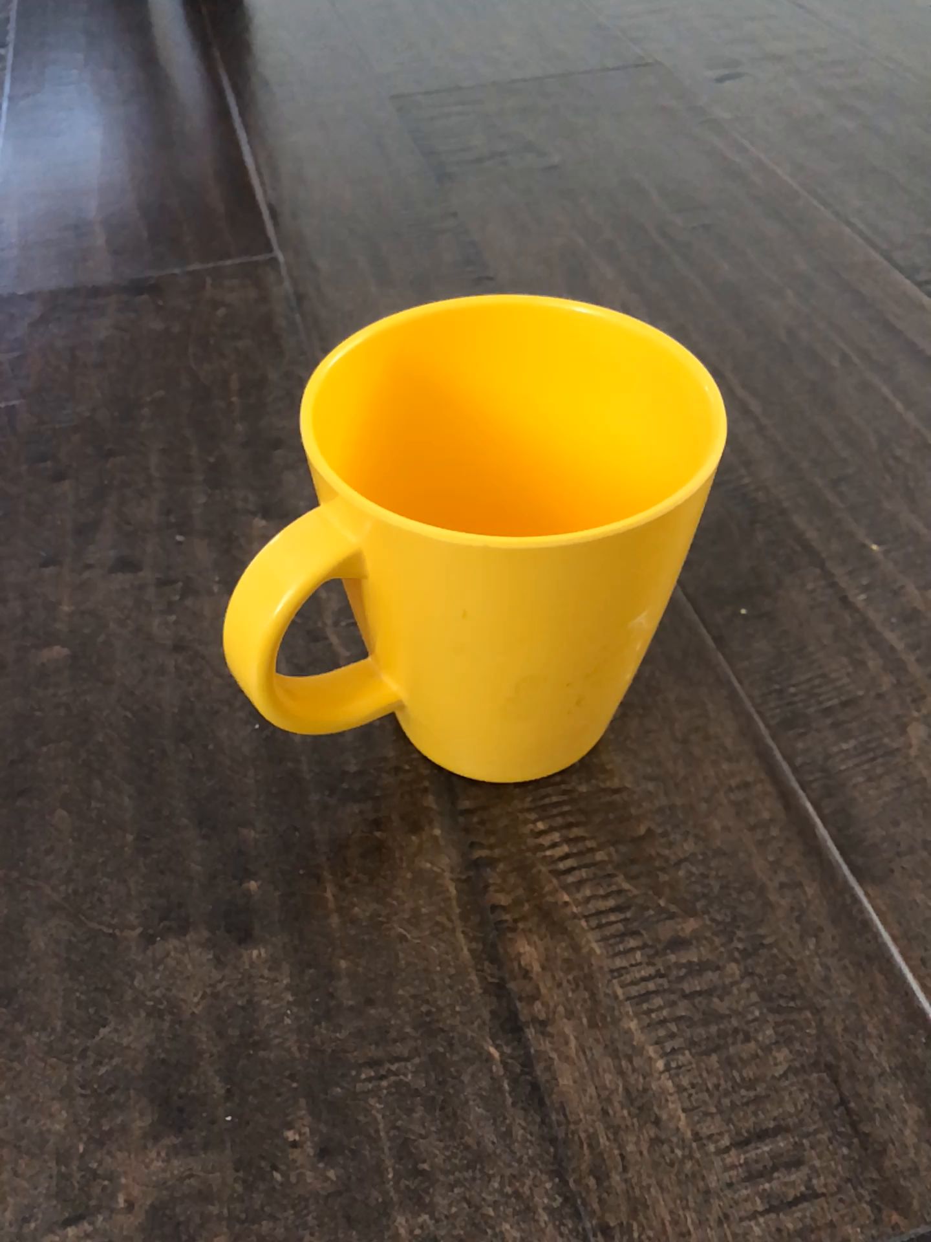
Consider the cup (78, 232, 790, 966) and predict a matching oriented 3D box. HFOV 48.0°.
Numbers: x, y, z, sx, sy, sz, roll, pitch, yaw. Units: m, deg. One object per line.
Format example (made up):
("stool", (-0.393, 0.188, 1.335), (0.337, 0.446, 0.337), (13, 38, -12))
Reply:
("cup", (-0.004, -0.010, 0.243), (0.090, 0.099, 0.111), (35, 55, 30))
